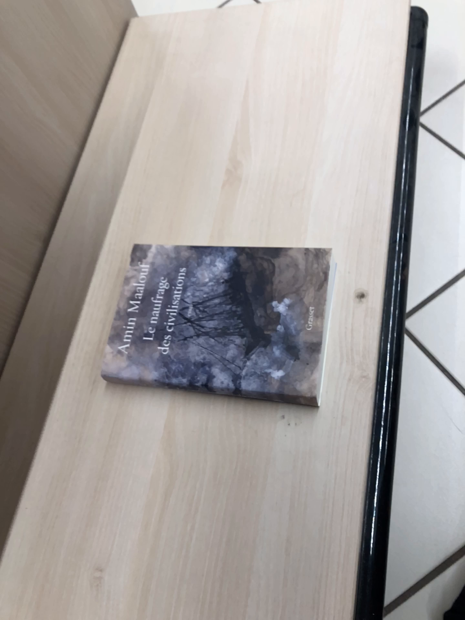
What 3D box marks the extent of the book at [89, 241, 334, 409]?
[{"bbox_3d":[-0.018,0.007,0.489,0.211,0.026,0.148,3,67,16],"label":"book"}]
